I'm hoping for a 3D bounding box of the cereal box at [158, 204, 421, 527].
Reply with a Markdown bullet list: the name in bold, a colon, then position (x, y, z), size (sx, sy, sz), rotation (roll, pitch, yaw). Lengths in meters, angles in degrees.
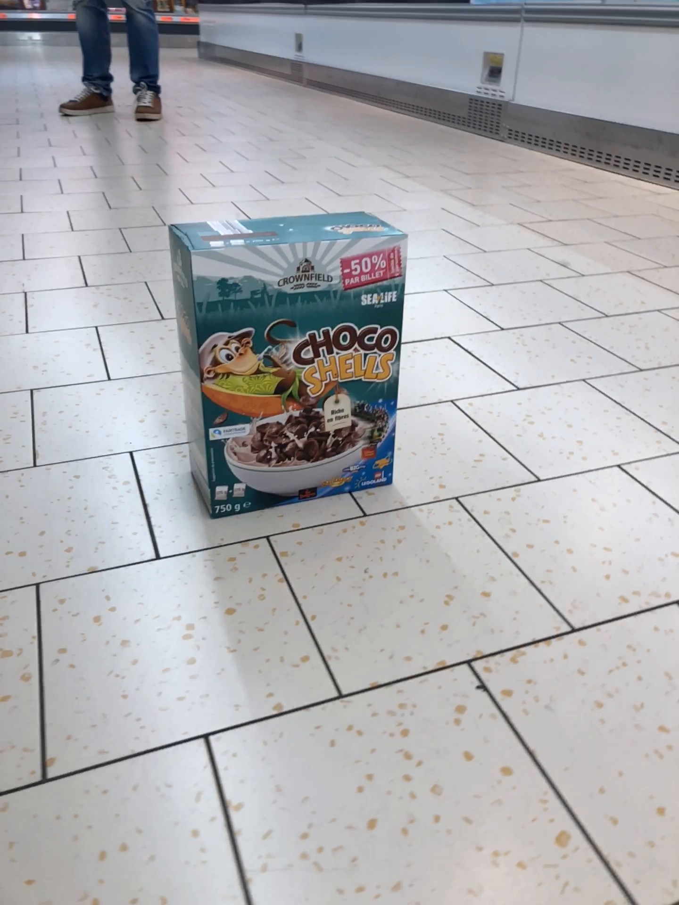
- **cereal box**: position (-0.048, -0.087, 0.721), size (0.211, 0.268, 0.100), rotation (-10, 31, -19)
